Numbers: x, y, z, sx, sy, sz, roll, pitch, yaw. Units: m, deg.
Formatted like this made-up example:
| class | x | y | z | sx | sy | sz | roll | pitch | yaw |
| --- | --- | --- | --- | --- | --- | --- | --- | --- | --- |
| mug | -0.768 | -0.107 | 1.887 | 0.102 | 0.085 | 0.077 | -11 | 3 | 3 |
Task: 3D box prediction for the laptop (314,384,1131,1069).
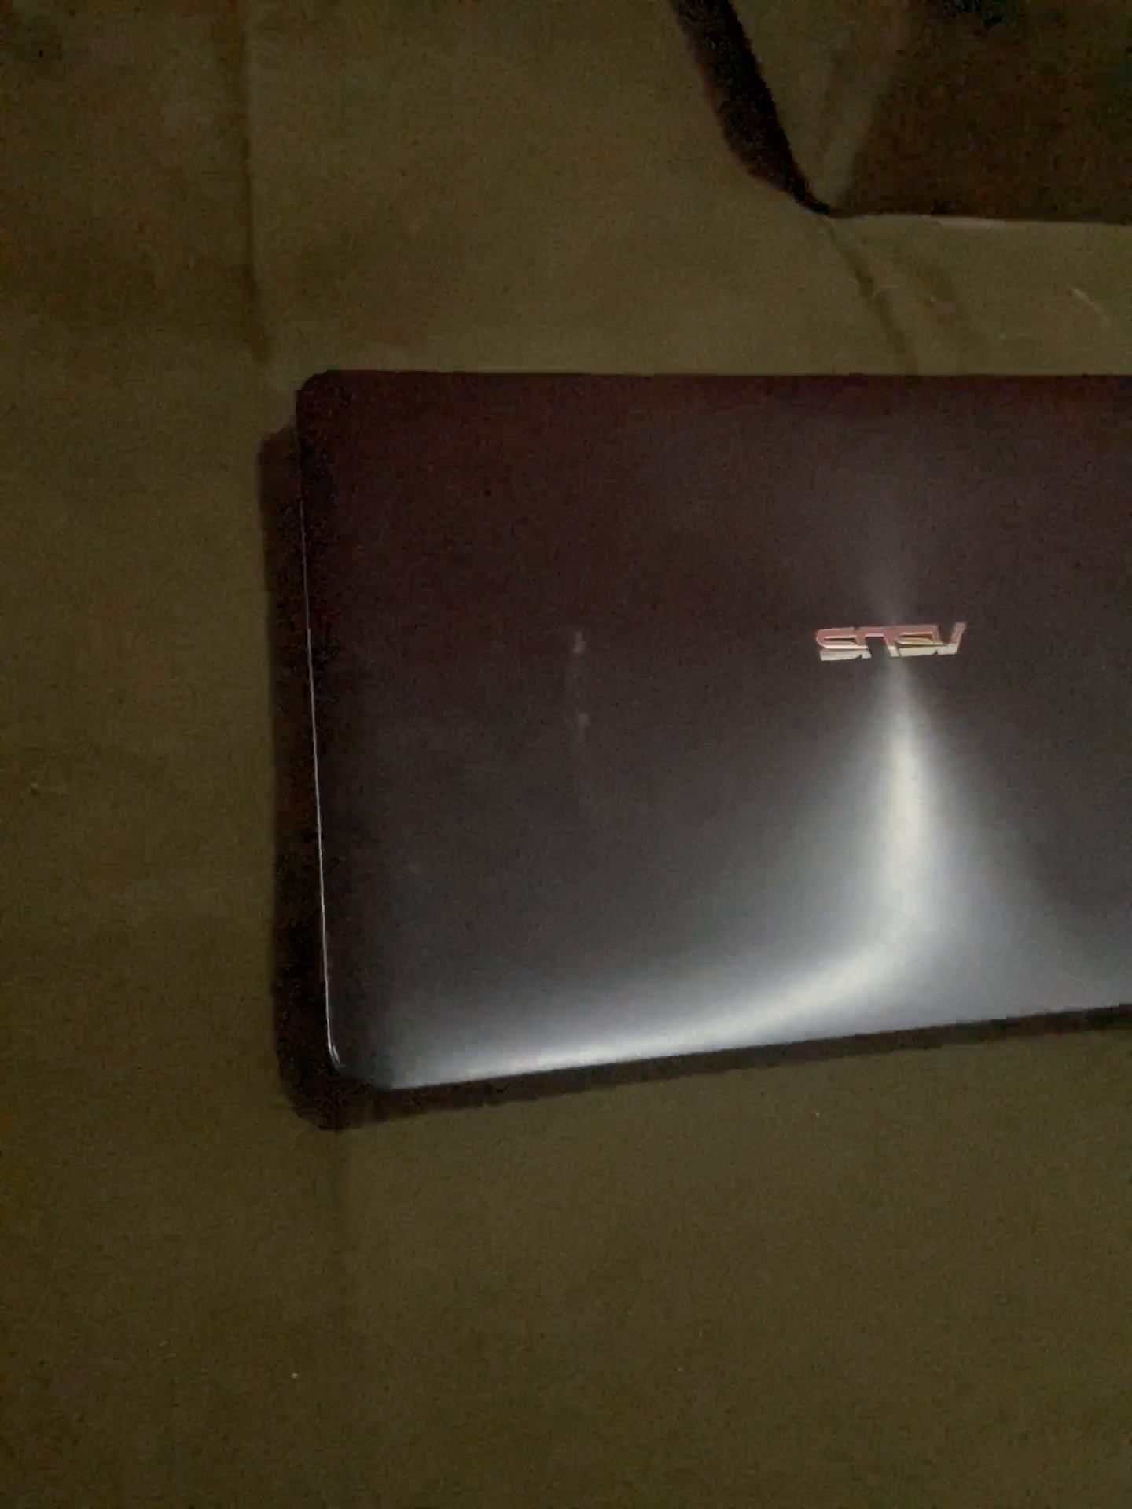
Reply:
| class | x | y | z | sx | sy | sz | roll | pitch | yaw |
| --- | --- | --- | --- | --- | --- | --- | --- | --- | --- |
| laptop | 0.112 | -0.035 | 0.385 | 0.370 | 0.004 | 0.235 | -4 | 62 | -11 |
